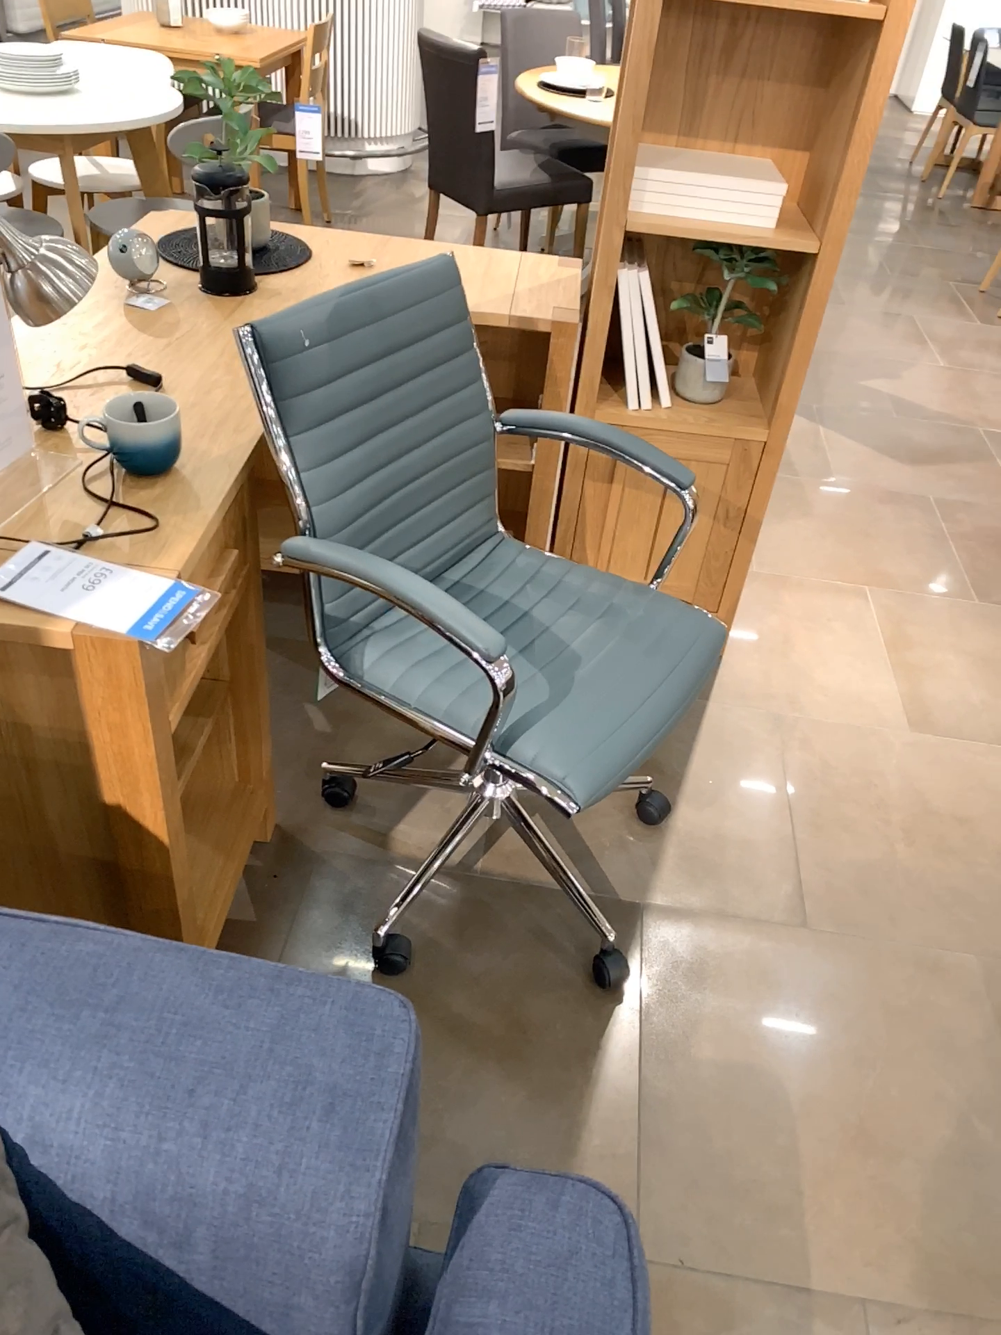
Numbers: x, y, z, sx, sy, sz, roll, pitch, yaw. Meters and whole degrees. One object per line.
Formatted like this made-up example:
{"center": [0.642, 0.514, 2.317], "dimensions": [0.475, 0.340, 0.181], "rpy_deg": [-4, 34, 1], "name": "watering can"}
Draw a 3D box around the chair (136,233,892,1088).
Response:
{"center": [0.011, -0.053, 1.543], "dimensions": [0.709, 0.883, 0.668], "rpy_deg": [25, 41, 22], "name": "chair"}
